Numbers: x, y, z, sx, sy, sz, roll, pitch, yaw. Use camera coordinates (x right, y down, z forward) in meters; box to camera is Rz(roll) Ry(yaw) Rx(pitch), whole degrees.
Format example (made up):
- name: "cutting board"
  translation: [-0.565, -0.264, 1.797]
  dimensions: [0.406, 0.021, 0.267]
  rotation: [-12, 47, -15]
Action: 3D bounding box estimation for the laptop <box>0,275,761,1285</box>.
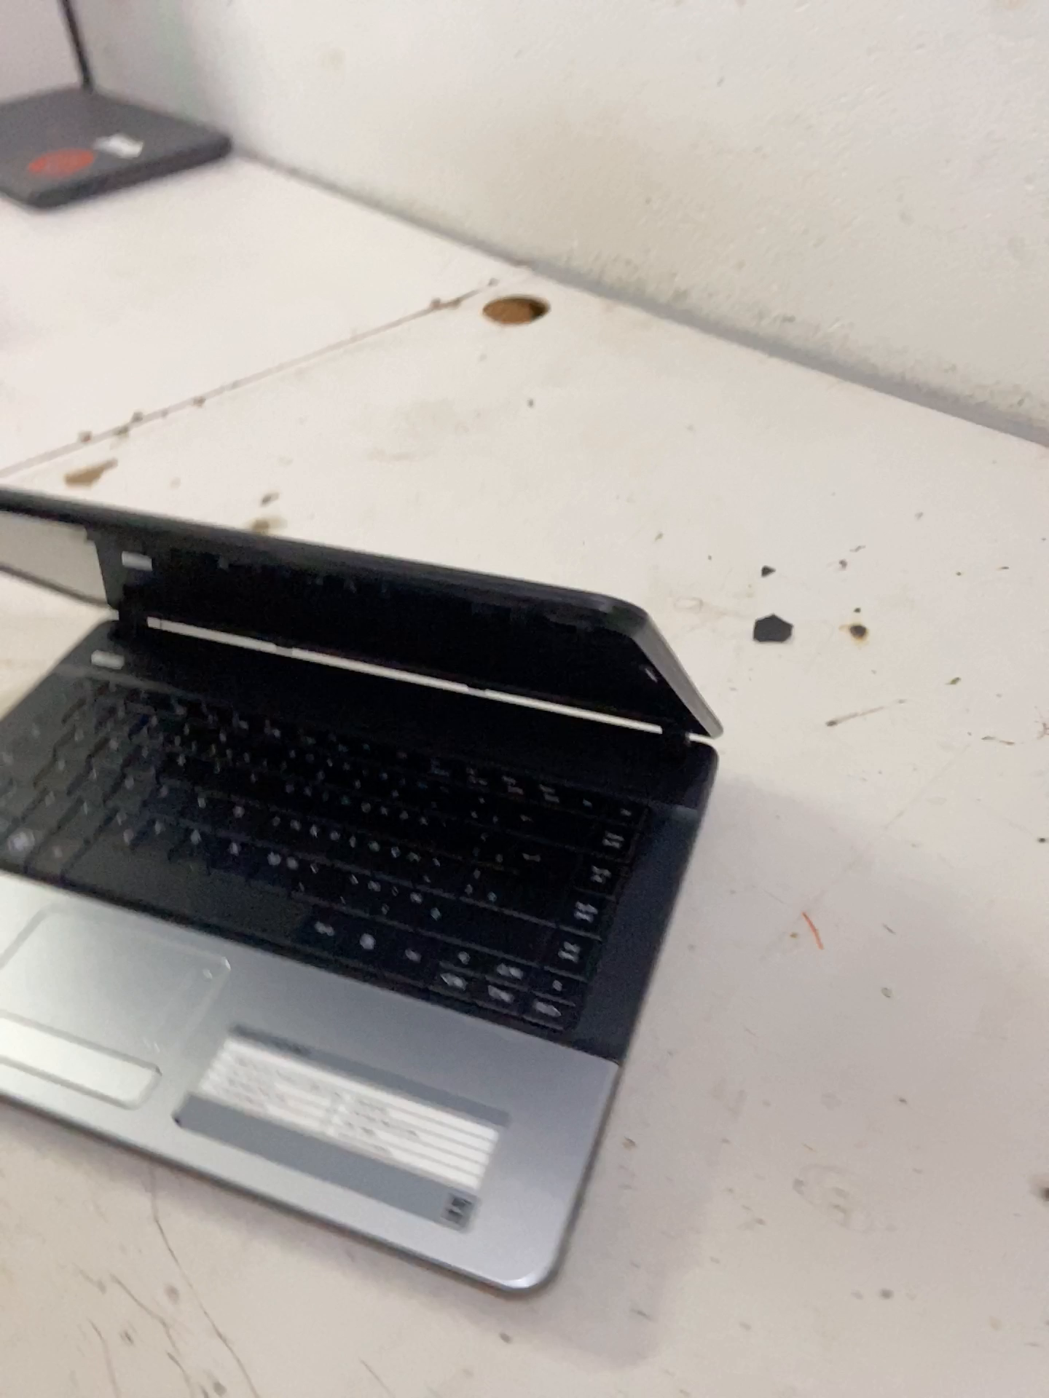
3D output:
- name: "laptop"
  translation: [-0.113, -0.002, 0.392]
  dimensions: [0.334, 0.184, 0.239]
  rotation: [12, 45, 17]
